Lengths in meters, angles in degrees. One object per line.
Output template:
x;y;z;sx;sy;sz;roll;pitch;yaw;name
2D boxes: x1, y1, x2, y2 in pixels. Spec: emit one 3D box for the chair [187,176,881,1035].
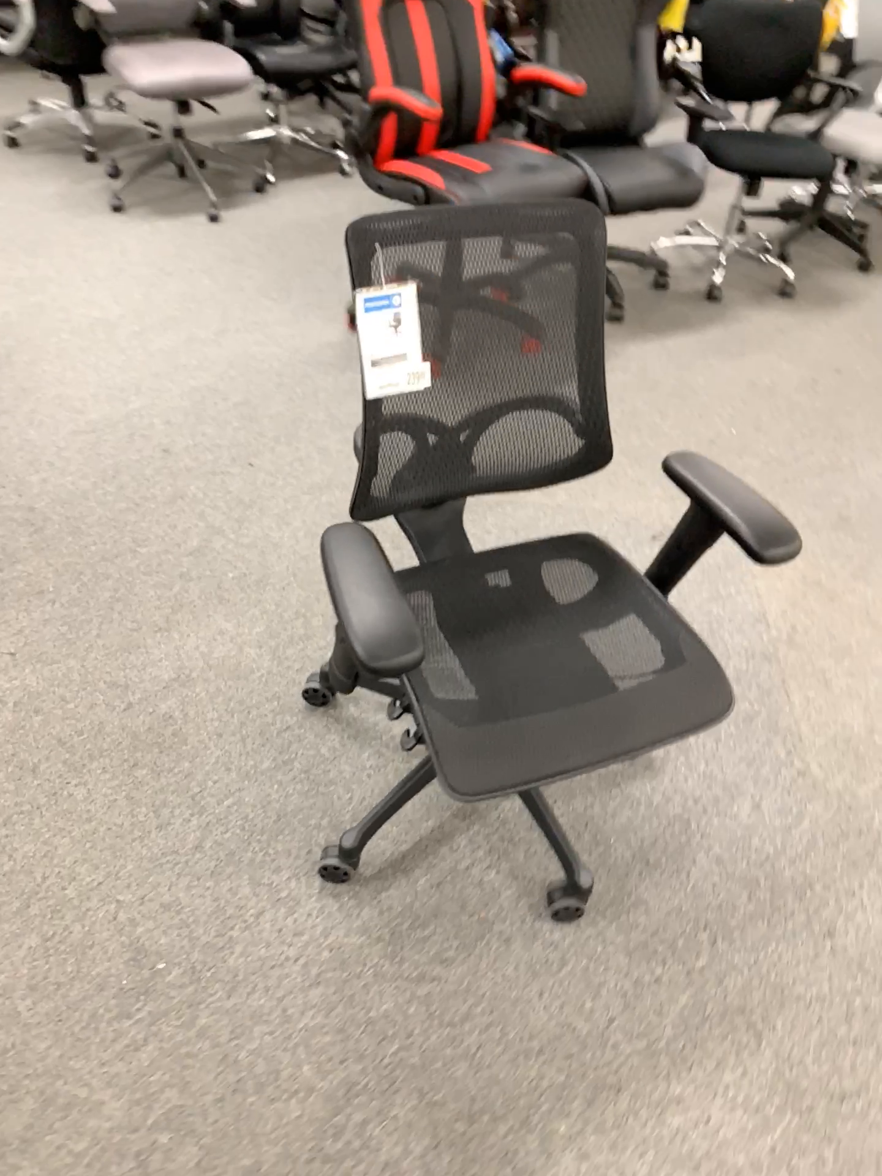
0.158;-0.034;1.350;0.761;0.806;0.763;-18;47;-24;chair
